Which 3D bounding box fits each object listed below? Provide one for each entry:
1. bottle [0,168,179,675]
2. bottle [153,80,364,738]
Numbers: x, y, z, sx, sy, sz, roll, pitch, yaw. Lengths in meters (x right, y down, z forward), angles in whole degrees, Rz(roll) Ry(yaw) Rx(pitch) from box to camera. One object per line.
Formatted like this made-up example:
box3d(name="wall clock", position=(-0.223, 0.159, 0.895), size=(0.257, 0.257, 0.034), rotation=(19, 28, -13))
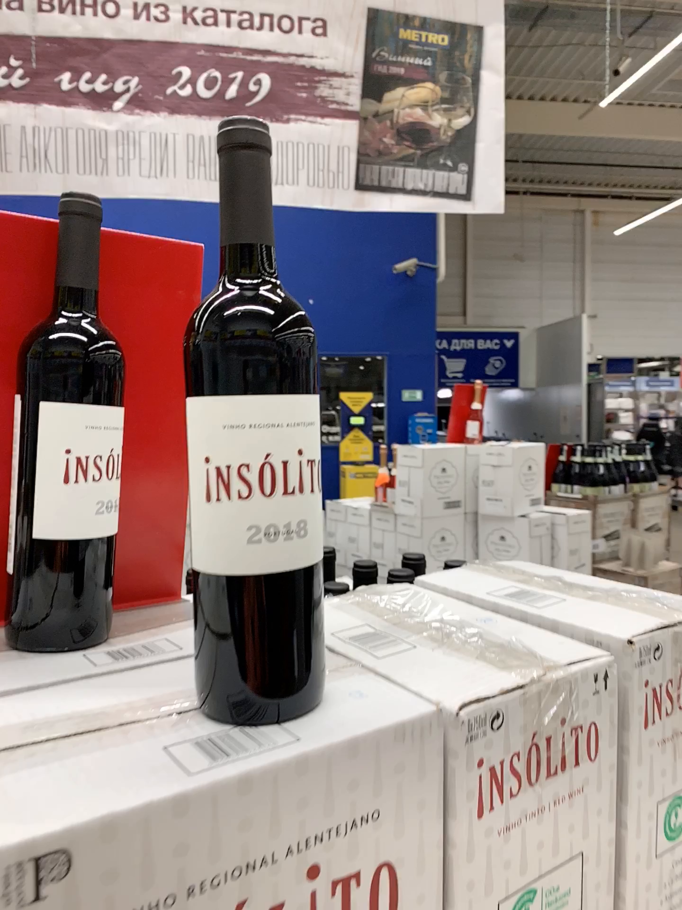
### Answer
box3d(name="bottle", position=(-0.192, -0.023, 0.504), size=(0.090, 0.320, 0.090), rotation=(5, 4, 0))
box3d(name="bottle", position=(-0.048, -0.022, 0.391), size=(0.090, 0.310, 0.090), rotation=(0, 2, 0))
